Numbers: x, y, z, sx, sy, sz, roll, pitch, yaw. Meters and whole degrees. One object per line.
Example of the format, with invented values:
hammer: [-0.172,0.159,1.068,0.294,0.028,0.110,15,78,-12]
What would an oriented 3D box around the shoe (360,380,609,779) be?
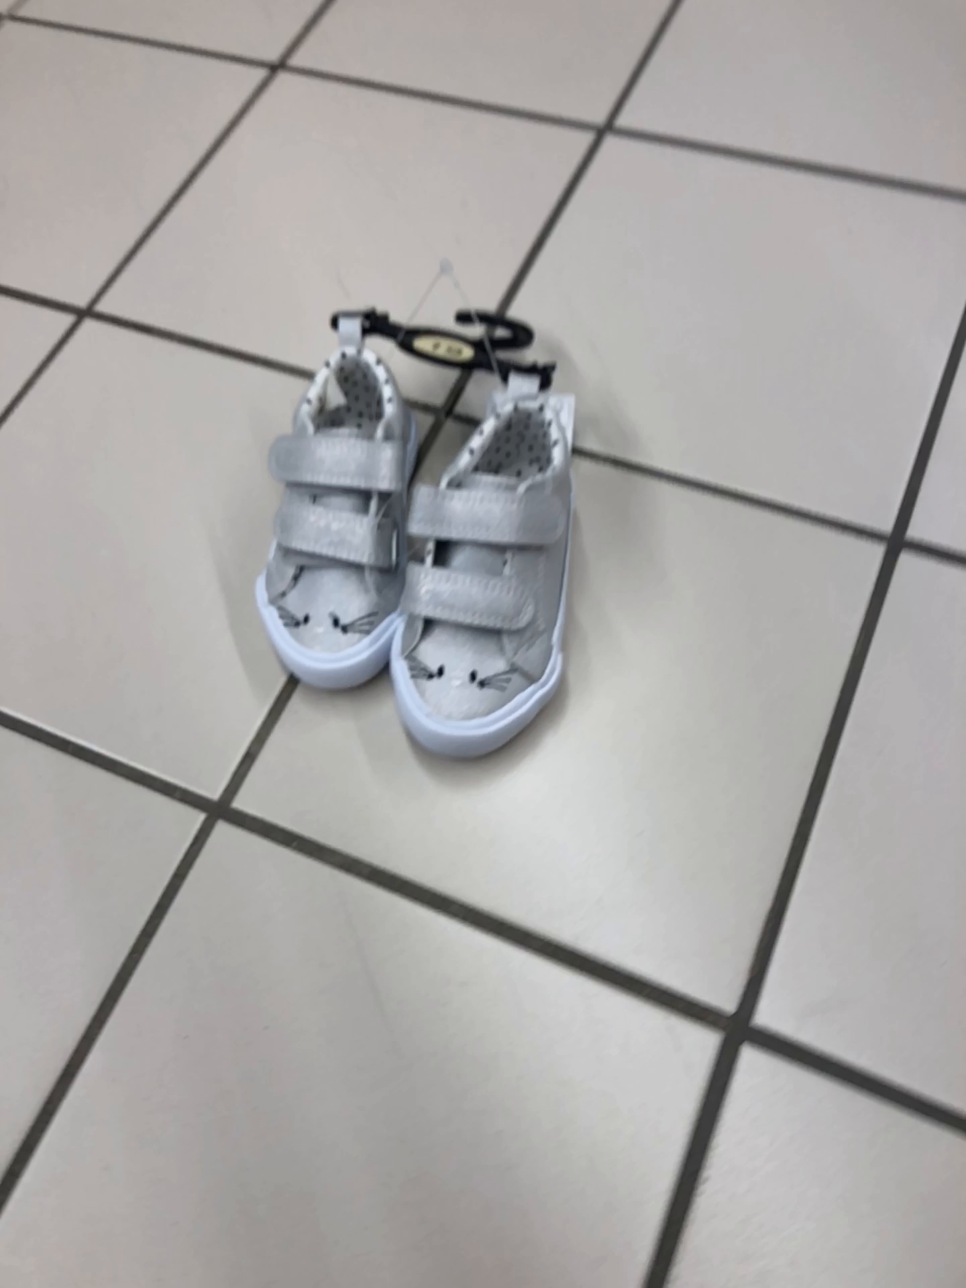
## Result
shoe: [0.006,-0.027,0.407,0.064,0.053,0.138,7,63,11]

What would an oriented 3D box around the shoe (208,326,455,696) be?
shoe: [-0.055,-0.055,0.428,0.059,0.053,0.138,5,62,10]
